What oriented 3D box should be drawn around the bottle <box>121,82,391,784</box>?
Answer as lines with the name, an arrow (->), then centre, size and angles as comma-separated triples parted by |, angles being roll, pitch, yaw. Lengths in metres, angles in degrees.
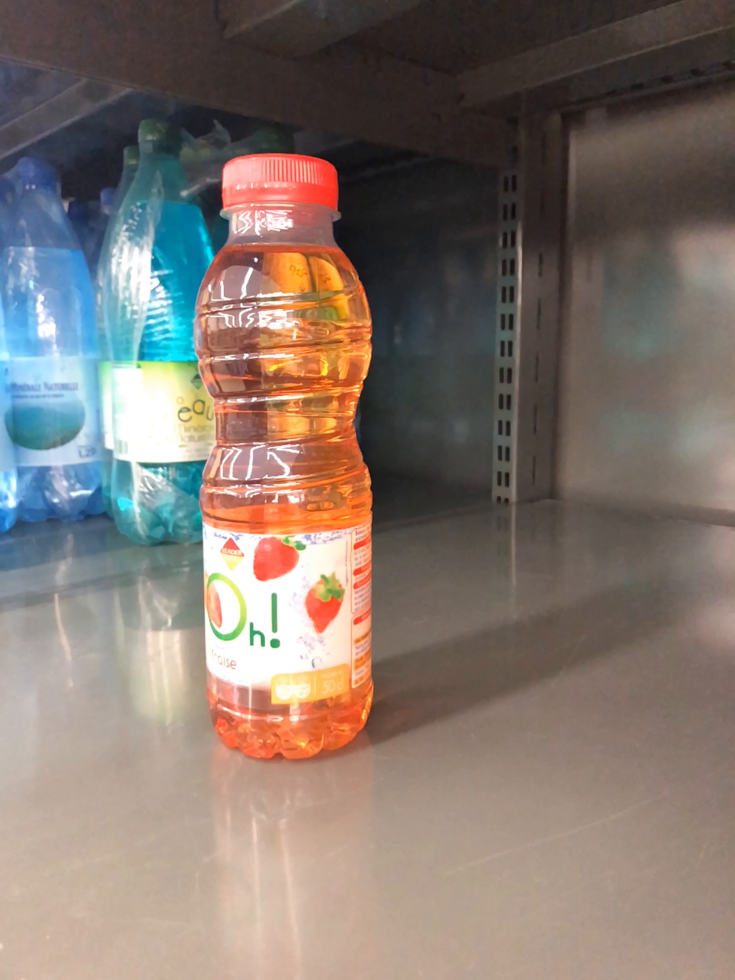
bottle -> -0.038, -0.018, 0.288 | 0.060, 0.210, 0.070 | -8, 12, -43
